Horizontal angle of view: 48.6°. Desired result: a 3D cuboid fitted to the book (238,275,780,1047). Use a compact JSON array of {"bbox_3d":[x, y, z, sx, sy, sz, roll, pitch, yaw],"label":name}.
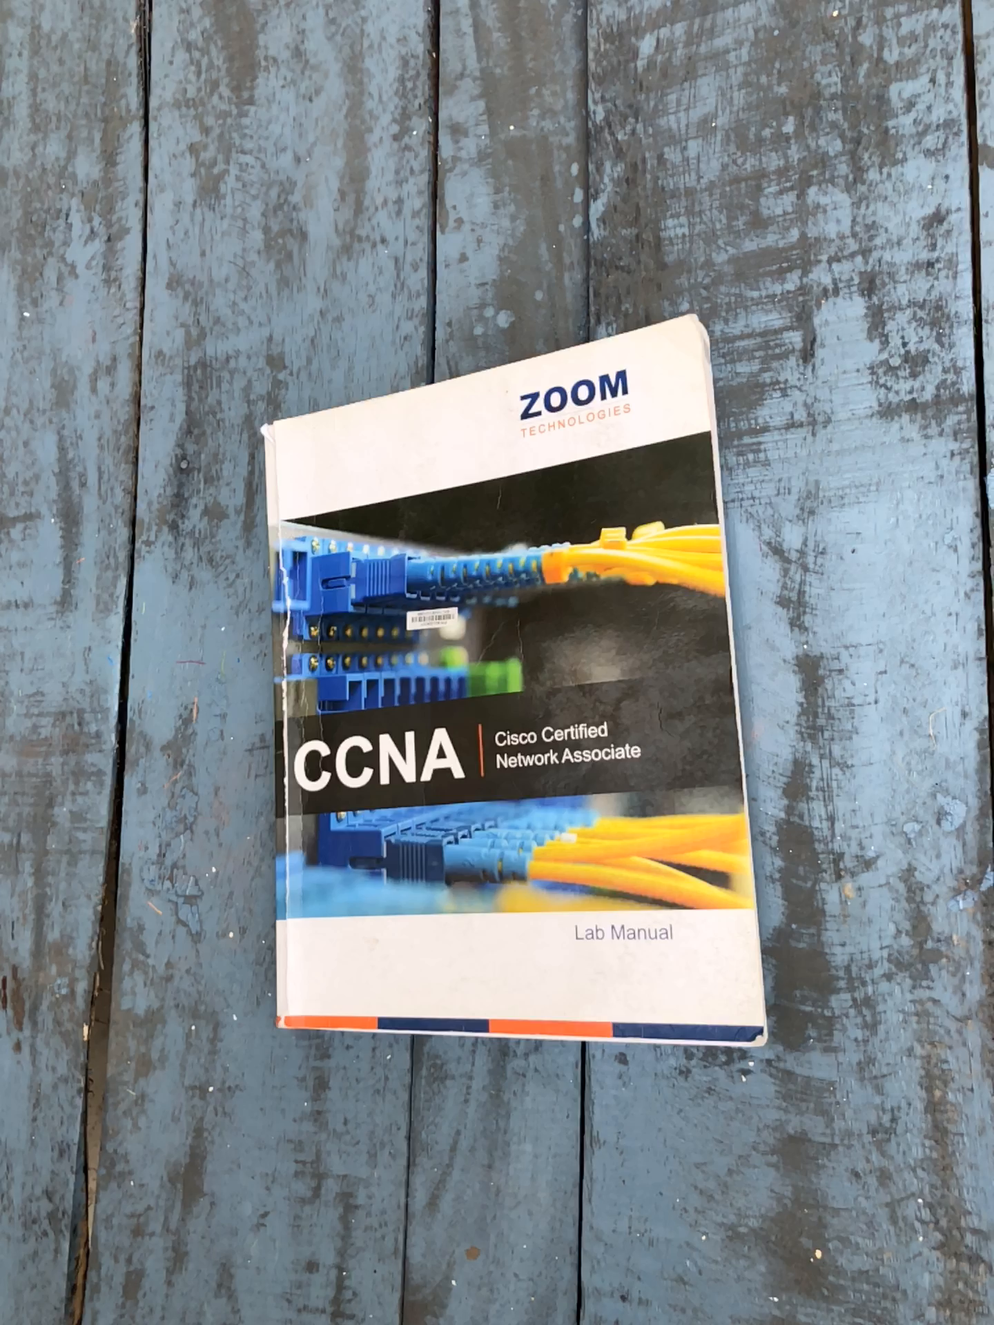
[{"bbox_3d":[-0.007,0.005,0.419,0.201,0.030,0.260,-7,78,25],"label":"book"}]
